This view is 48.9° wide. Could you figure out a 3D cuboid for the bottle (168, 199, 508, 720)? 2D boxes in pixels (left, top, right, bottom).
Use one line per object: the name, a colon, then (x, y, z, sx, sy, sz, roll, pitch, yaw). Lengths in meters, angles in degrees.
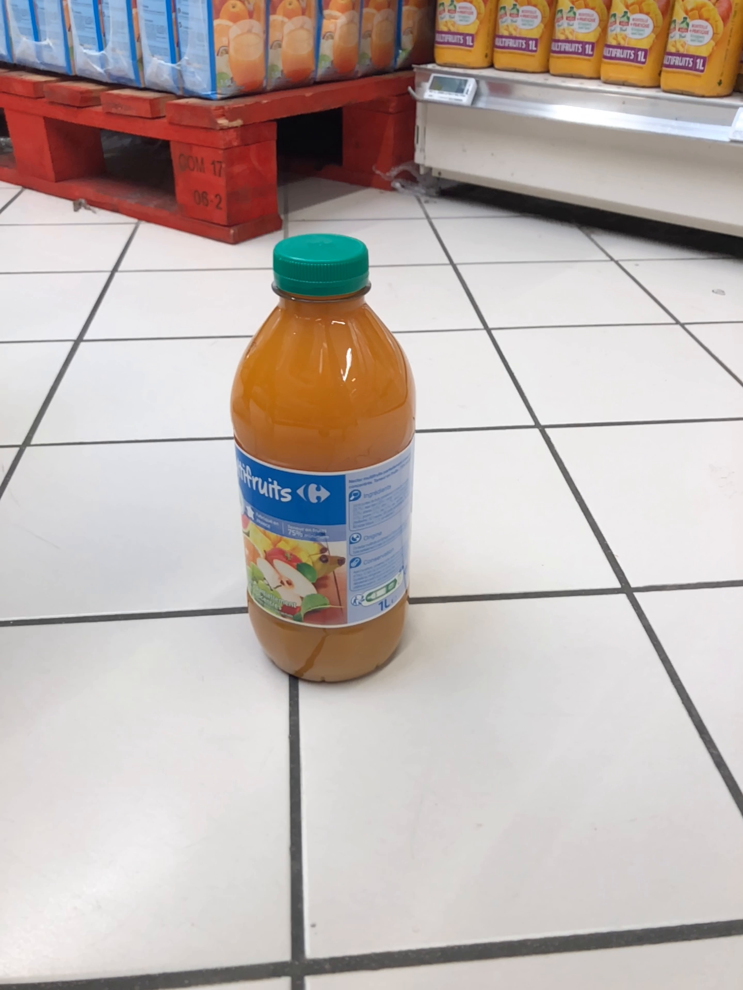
bottle: (-0.014, -0.018, 0.395, 0.100, 0.209, 0.101, 1, 32, 0)
